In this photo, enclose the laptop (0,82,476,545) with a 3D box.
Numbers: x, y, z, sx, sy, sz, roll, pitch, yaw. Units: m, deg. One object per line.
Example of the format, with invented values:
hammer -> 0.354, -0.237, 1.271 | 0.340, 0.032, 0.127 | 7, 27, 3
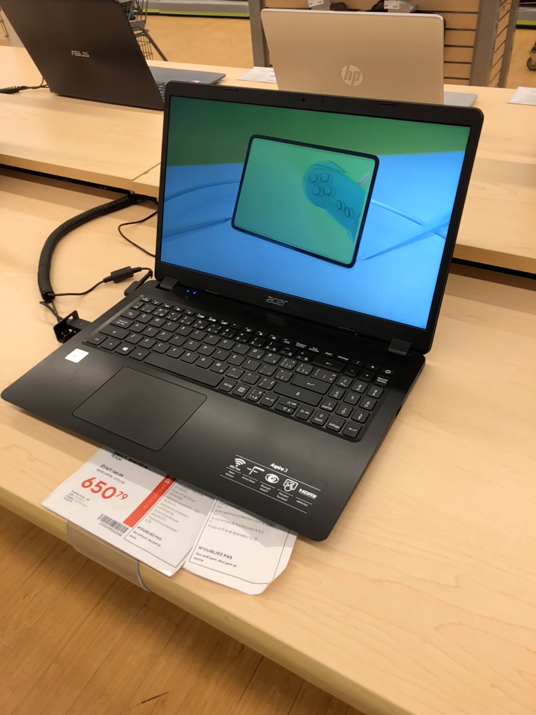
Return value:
laptop -> -0.041, -0.088, 0.554 | 0.355, 0.210, 0.328 | 18, 45, 26
